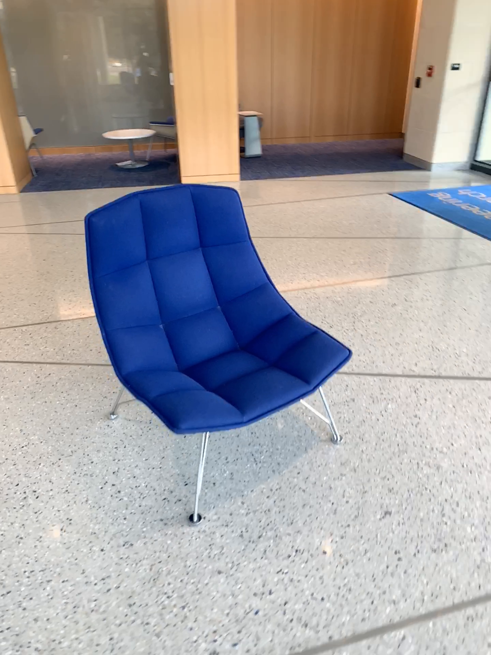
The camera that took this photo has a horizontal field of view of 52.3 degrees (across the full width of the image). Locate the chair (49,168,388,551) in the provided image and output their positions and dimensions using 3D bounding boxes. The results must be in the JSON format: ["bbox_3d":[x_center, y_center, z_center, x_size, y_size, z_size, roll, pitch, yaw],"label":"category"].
[{"bbox_3d":[-0.114,0.011,1.874,0.800,0.963,0.833,-19,33,-30],"label":"chair"}]
